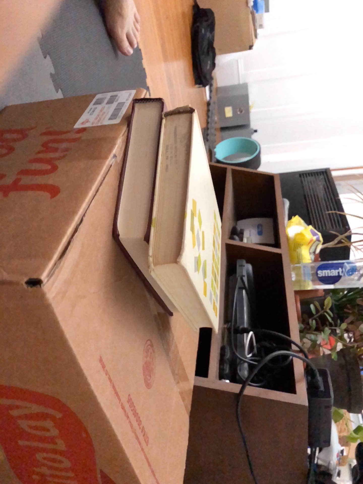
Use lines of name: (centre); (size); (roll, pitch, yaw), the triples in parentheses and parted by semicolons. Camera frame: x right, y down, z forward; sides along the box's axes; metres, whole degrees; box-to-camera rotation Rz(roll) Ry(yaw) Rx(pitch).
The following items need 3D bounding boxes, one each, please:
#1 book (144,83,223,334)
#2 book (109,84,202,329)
book: (0.016, -0.015, 0.454); (0.250, 0.040, 0.180); (68, 22, -63)
book: (-0.014, -0.021, 0.474); (0.250, 0.040, 0.180); (70, 20, -60)
